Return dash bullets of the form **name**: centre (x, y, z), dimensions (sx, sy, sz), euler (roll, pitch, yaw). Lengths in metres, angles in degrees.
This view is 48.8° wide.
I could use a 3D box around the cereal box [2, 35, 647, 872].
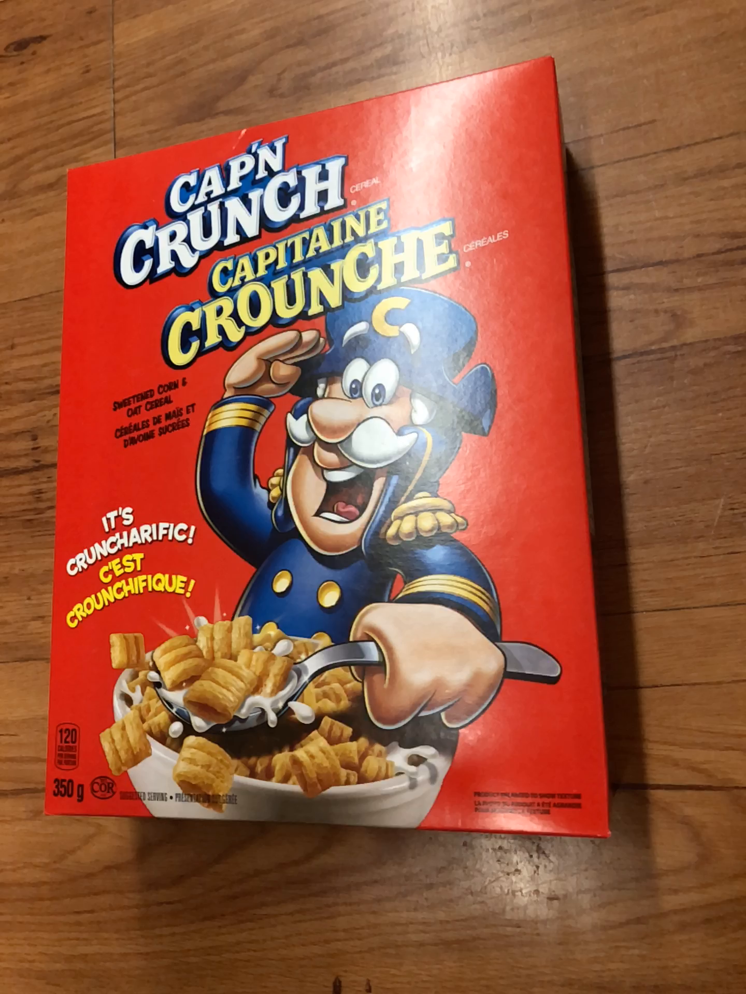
- **cereal box**: centre (-0.023, -0.011, 0.312), dimensions (0.220, 0.060, 0.260), euler (-5, 80, 18)
